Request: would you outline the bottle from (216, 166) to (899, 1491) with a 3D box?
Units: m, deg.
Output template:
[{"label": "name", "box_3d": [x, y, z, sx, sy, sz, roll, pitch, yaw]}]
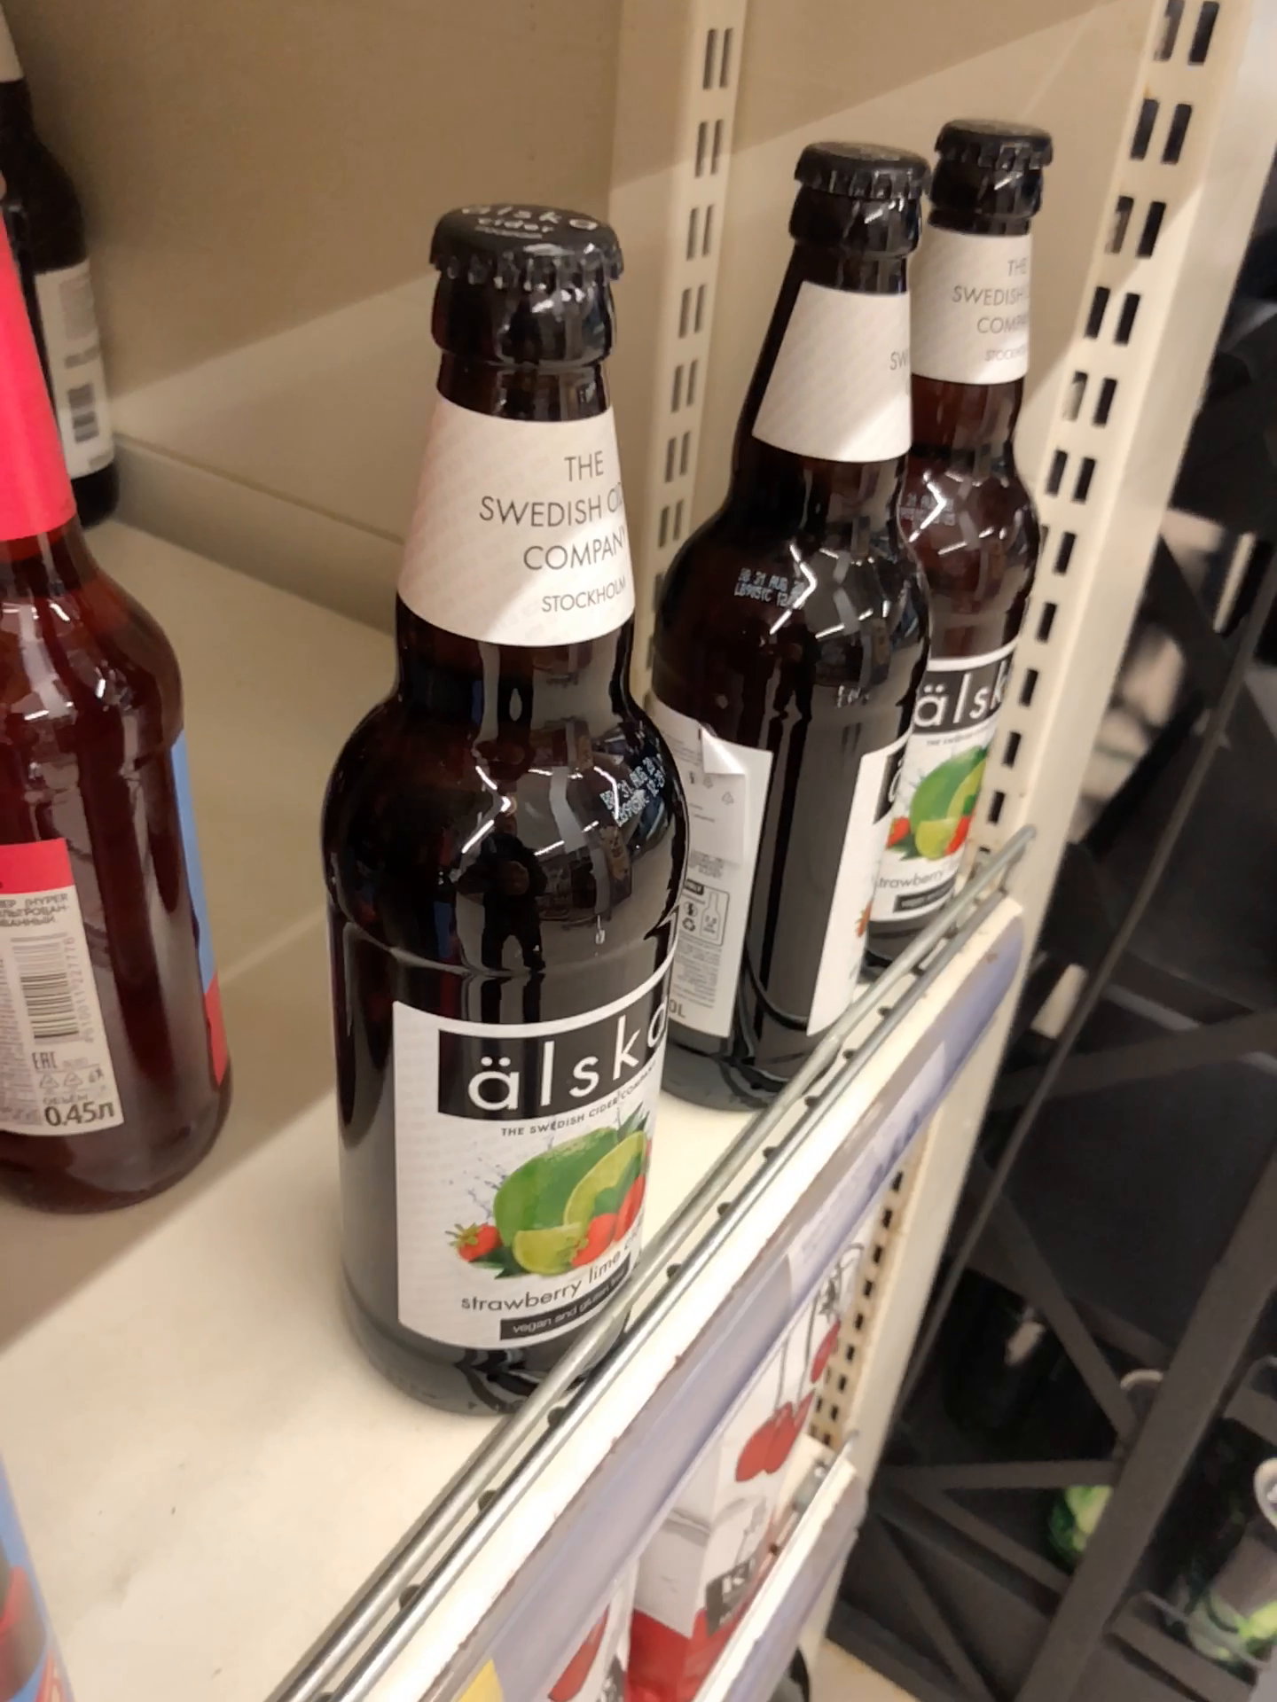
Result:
[{"label": "bottle", "box_3d": [-0.021, 0.008, 0.271, 0.070, 0.239, 0.070, 4, 35, -2]}]
